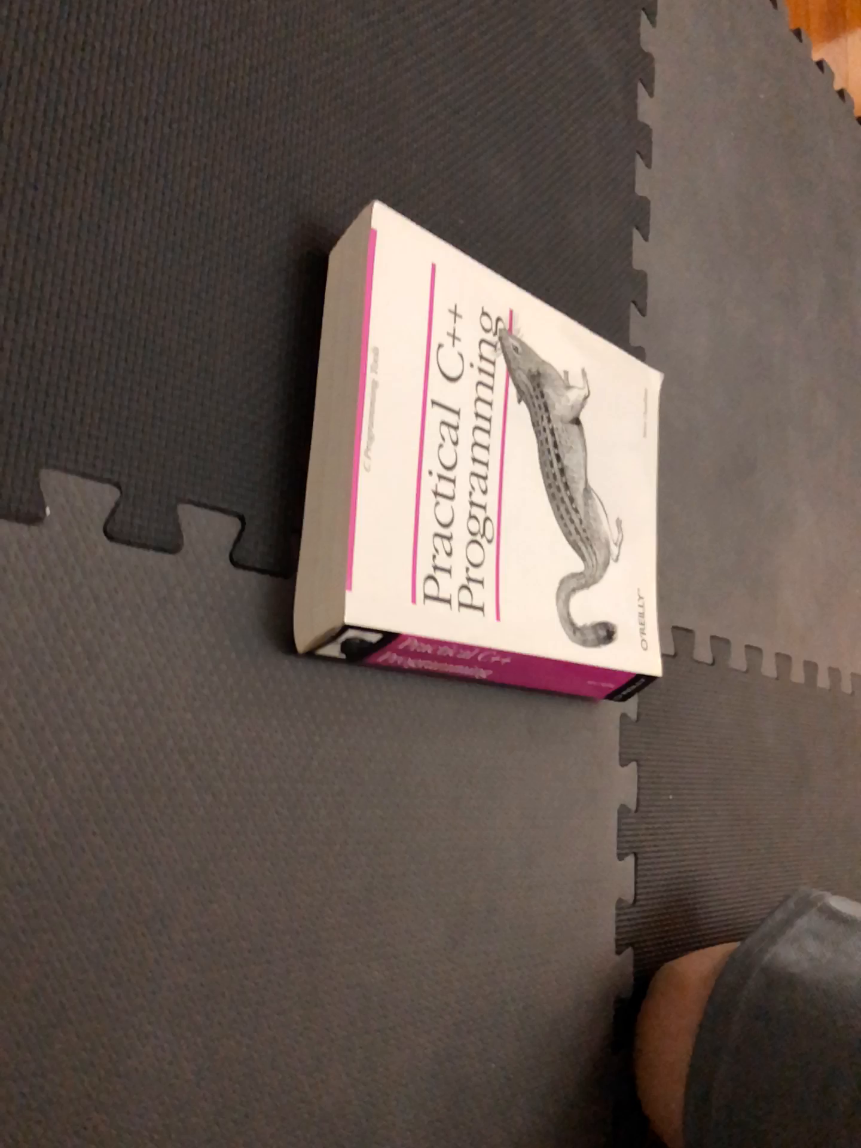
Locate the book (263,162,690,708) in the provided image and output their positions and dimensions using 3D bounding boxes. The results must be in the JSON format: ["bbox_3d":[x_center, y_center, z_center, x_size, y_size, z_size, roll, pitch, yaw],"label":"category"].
[{"bbox_3d":[0.036,-0.045,0.470,0.251,0.050,0.200,14,69,-46],"label":"book"}]
